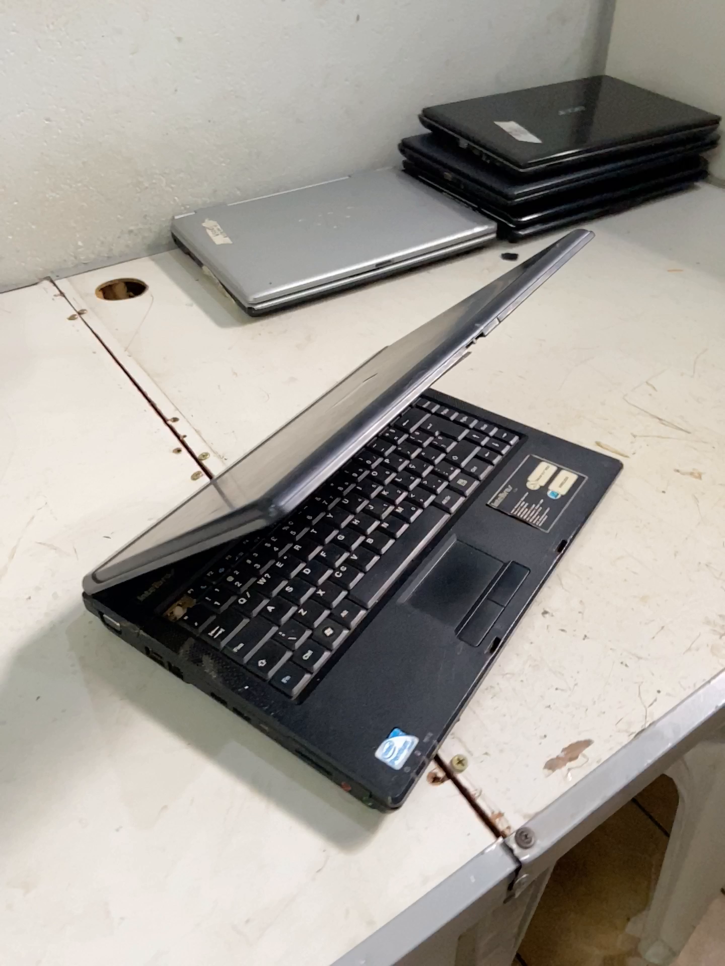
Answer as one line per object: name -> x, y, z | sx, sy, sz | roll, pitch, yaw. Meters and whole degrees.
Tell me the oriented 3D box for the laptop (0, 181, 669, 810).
laptop -> 0.006, -0.034, 0.470 | 0.235, 0.168, 0.325 | 24, 46, 25
